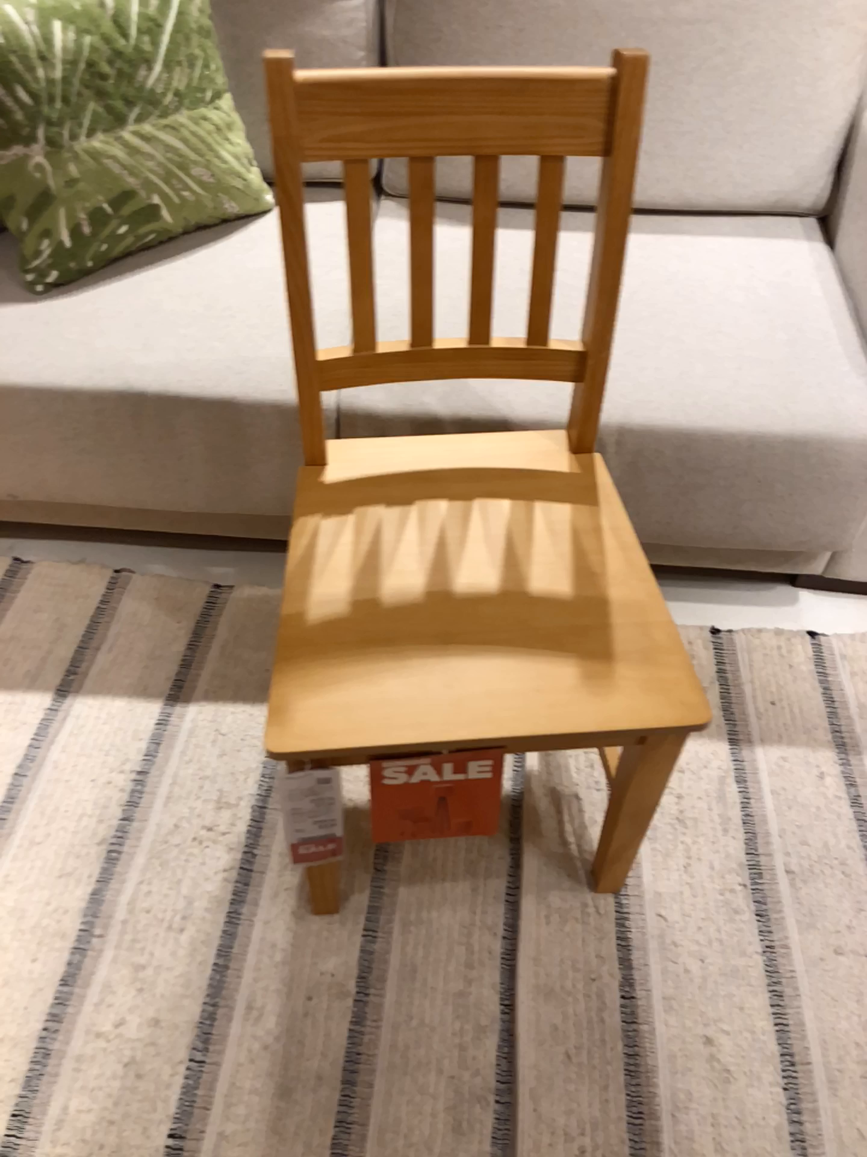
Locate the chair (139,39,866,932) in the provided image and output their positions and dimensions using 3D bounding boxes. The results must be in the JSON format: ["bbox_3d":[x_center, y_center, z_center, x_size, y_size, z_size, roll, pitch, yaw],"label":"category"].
[{"bbox_3d":[0.025,-0.048,1.041,0.460,0.814,0.523,-4,49,-5],"label":"chair"}]
